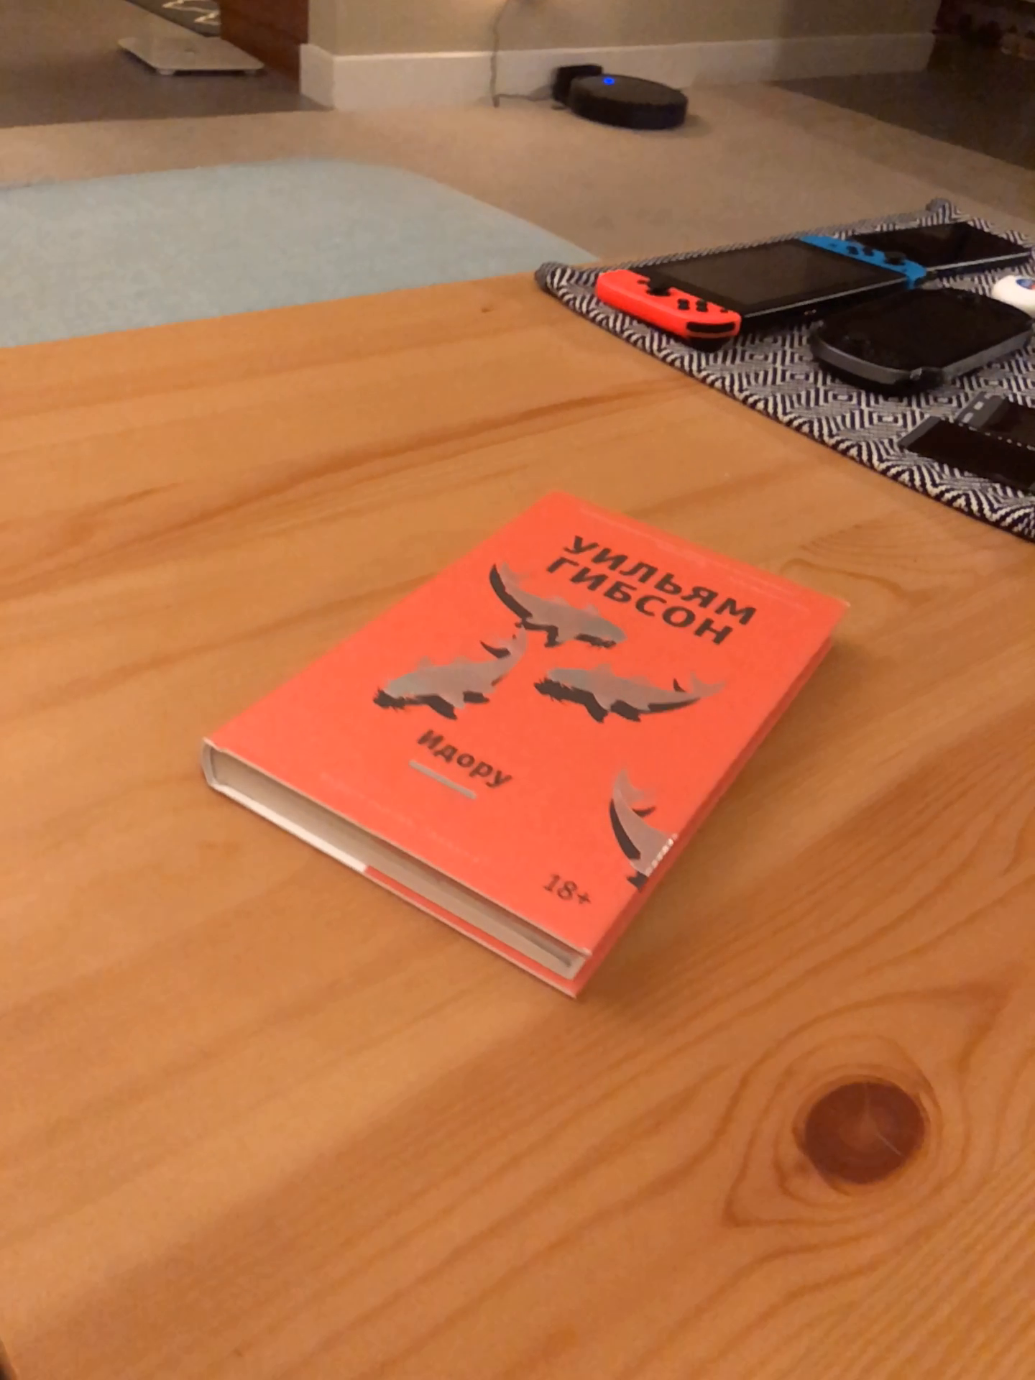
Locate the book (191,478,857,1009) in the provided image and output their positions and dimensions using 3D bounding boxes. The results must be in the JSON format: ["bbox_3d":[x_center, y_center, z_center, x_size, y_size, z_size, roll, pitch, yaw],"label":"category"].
[{"bbox_3d":[0.015,-0.003,0.386,0.134,0.020,0.208,25,42,21],"label":"book"}]
